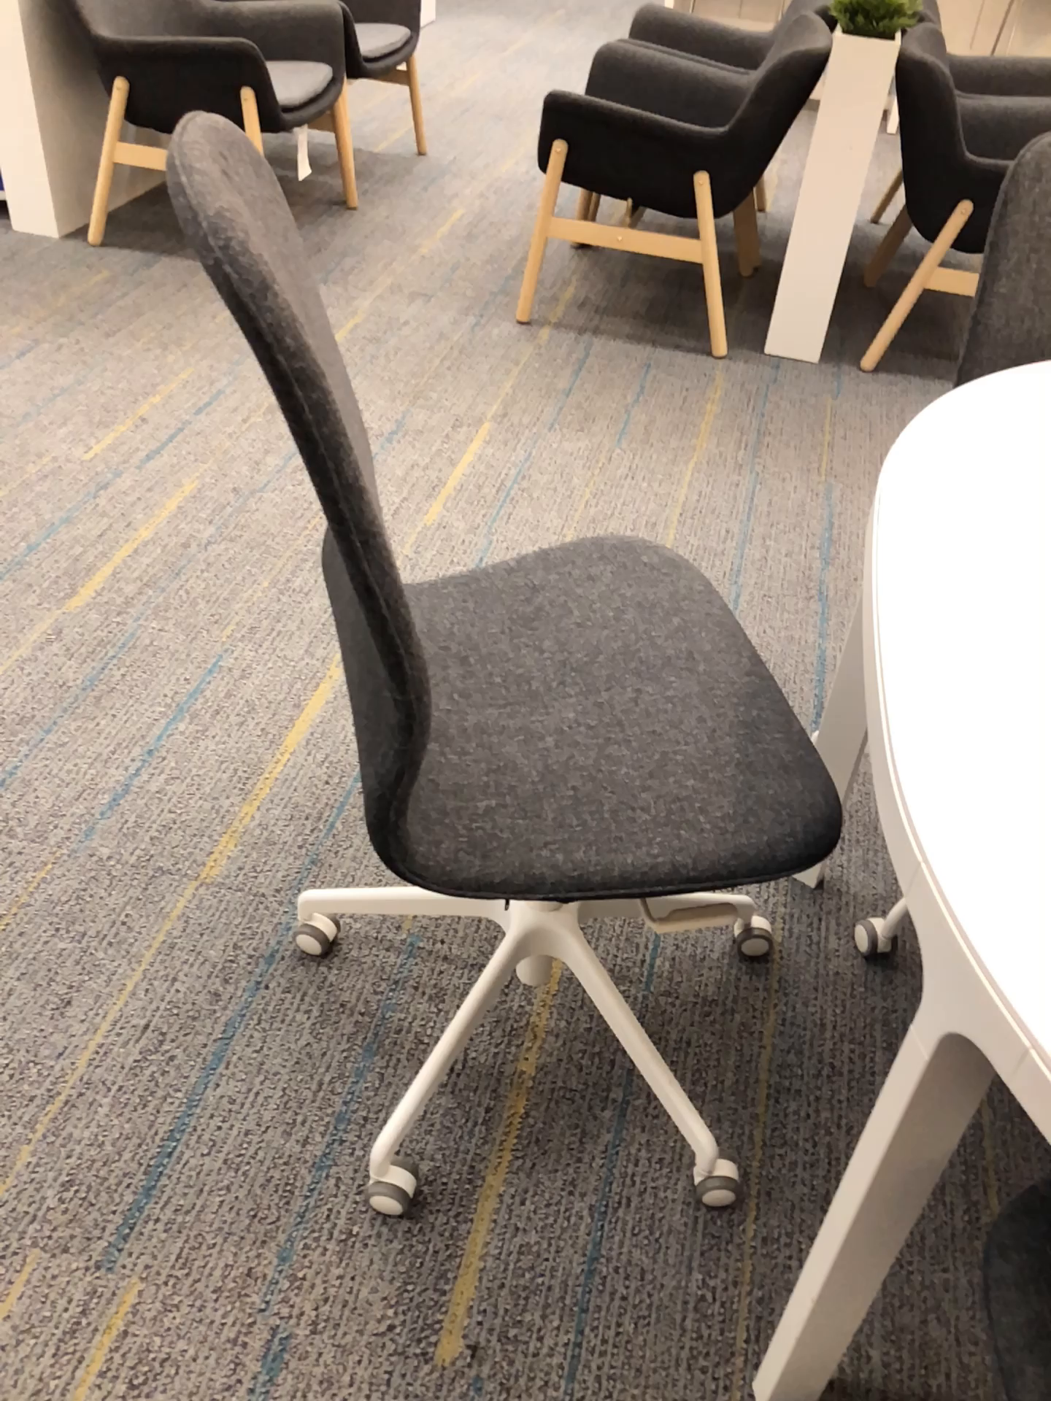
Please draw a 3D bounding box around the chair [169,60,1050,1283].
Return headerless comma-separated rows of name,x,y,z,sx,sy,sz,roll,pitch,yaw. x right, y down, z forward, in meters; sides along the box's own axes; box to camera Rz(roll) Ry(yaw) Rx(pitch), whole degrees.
chair,0.046,-0.004,1.156,0.630,0.993,0.634,-3,40,-11
